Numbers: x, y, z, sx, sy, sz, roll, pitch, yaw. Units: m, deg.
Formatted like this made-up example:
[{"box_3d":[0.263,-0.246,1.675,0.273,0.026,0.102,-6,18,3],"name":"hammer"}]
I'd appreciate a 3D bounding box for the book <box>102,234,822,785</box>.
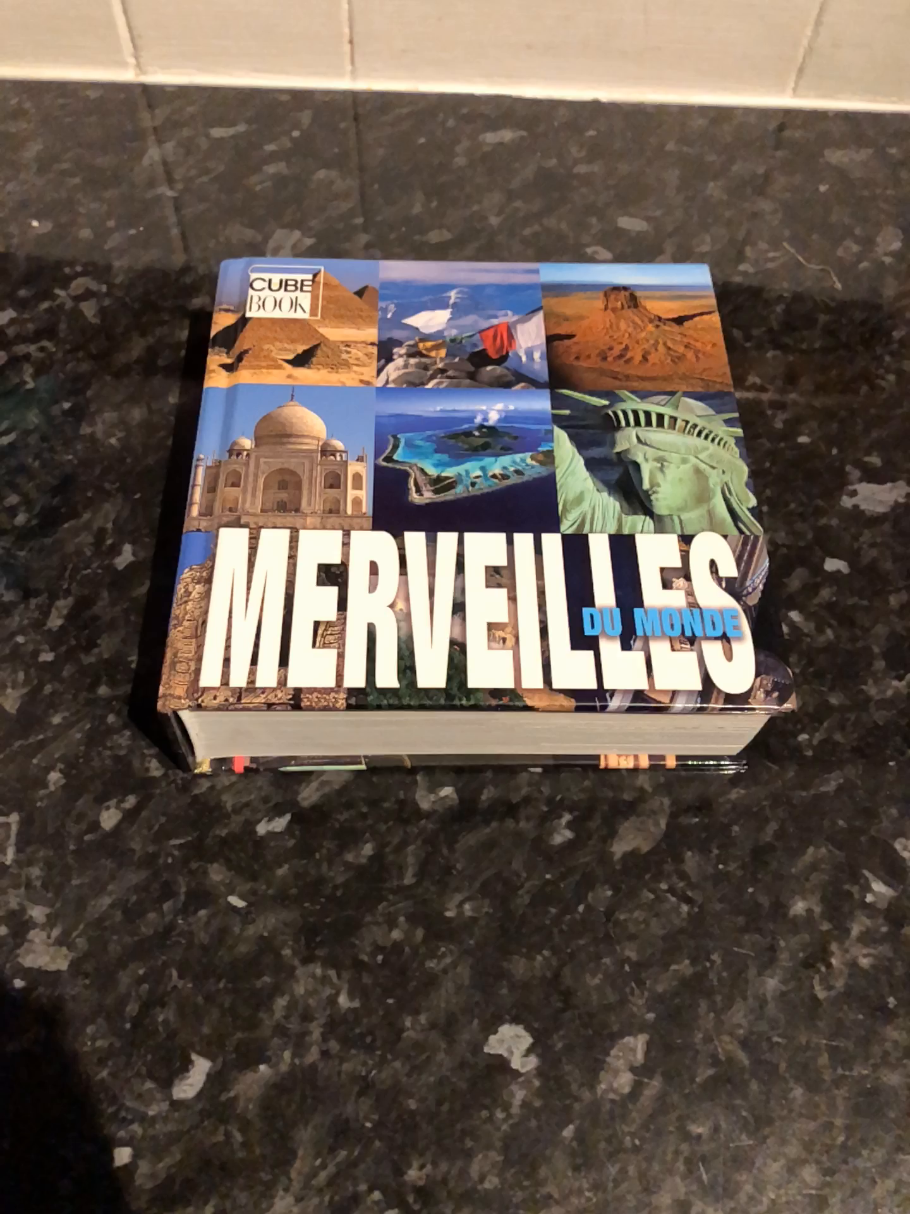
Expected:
[{"box_3d":[0.000,-0.034,0.305,0.170,0.060,0.161,0,59,-2],"name":"book"}]
